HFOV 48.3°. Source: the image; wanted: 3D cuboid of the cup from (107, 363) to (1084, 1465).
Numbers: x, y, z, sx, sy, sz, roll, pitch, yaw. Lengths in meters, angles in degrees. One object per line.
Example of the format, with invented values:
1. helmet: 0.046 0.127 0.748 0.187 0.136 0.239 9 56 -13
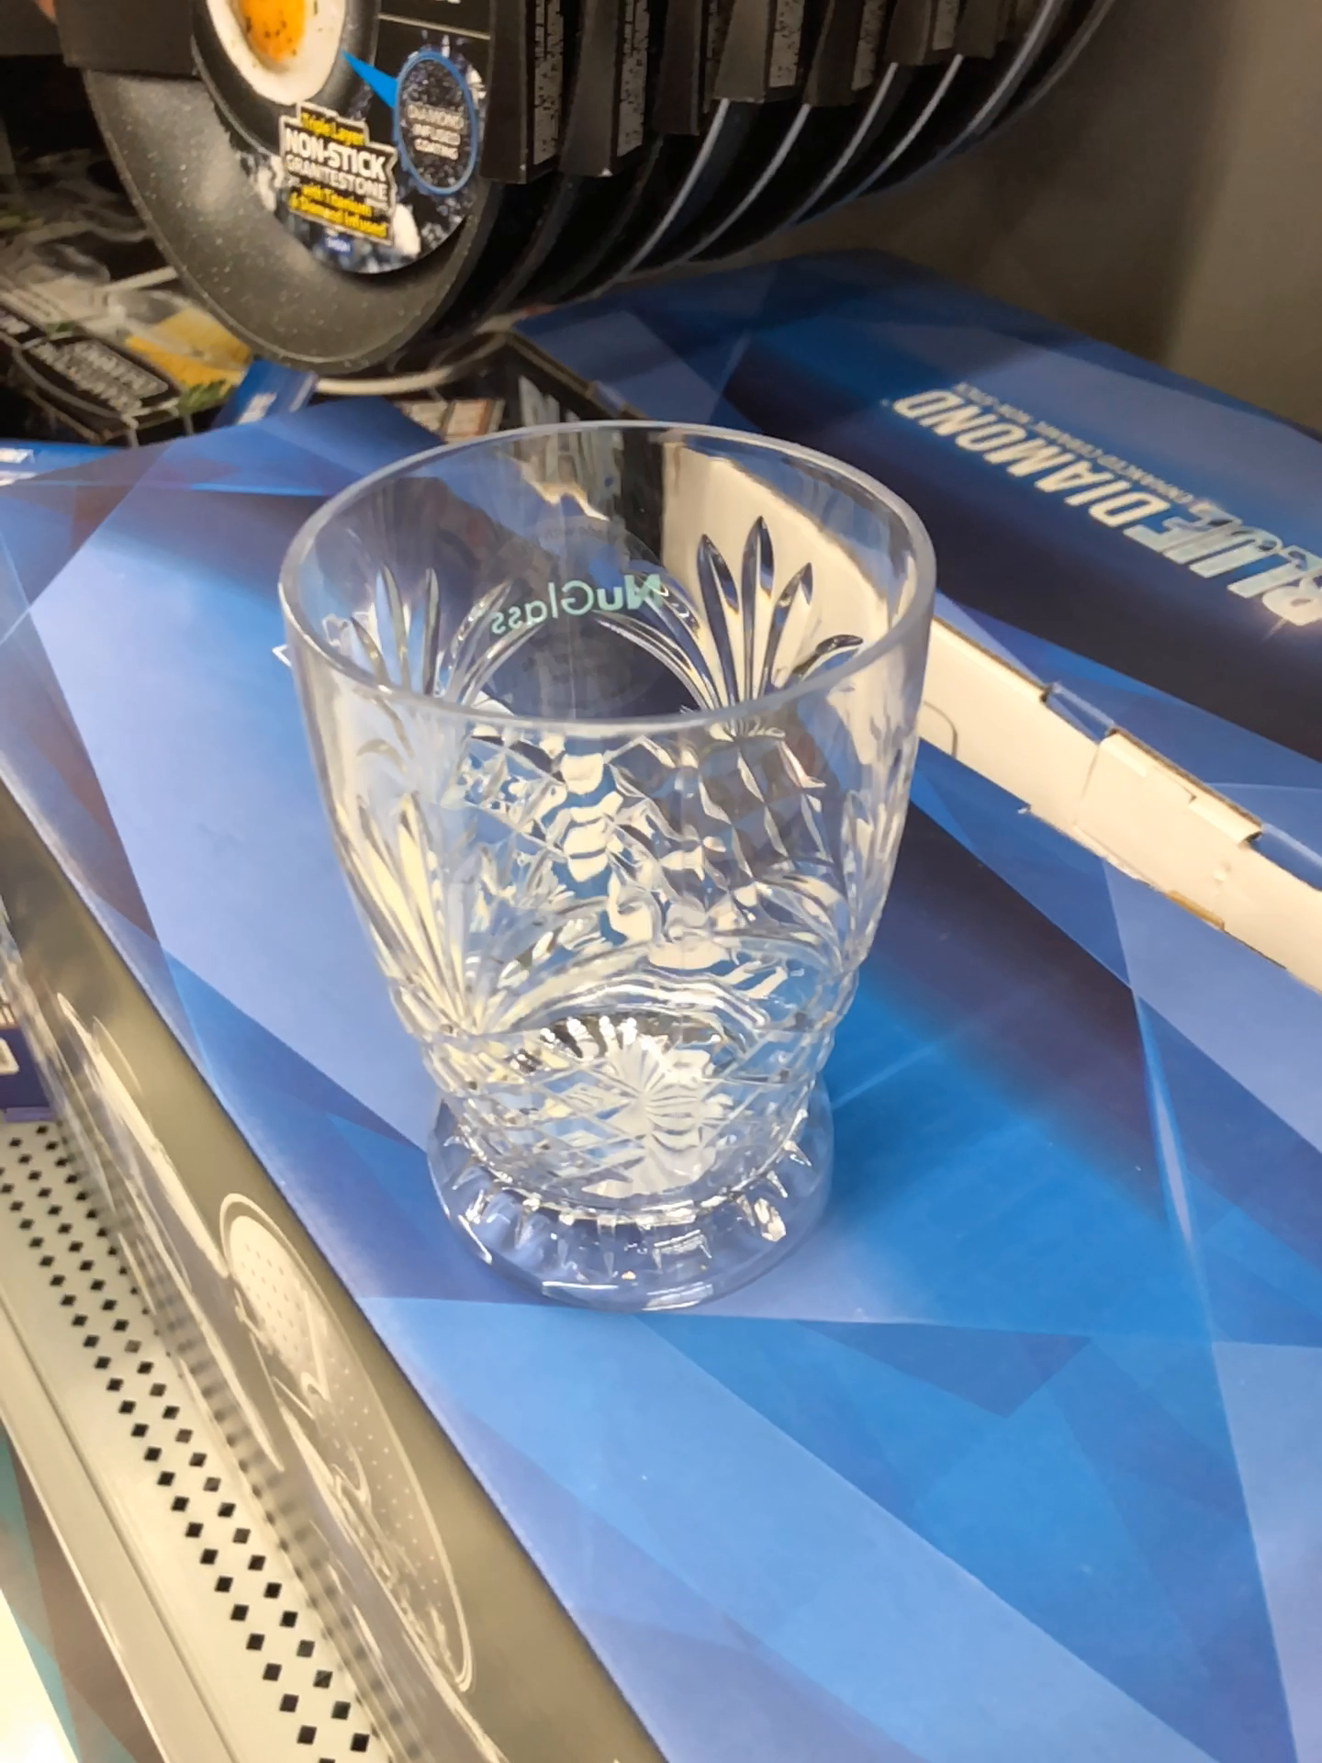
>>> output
1. cup: -0.009 0.000 0.226 0.088 0.113 0.092 -1 40 1
